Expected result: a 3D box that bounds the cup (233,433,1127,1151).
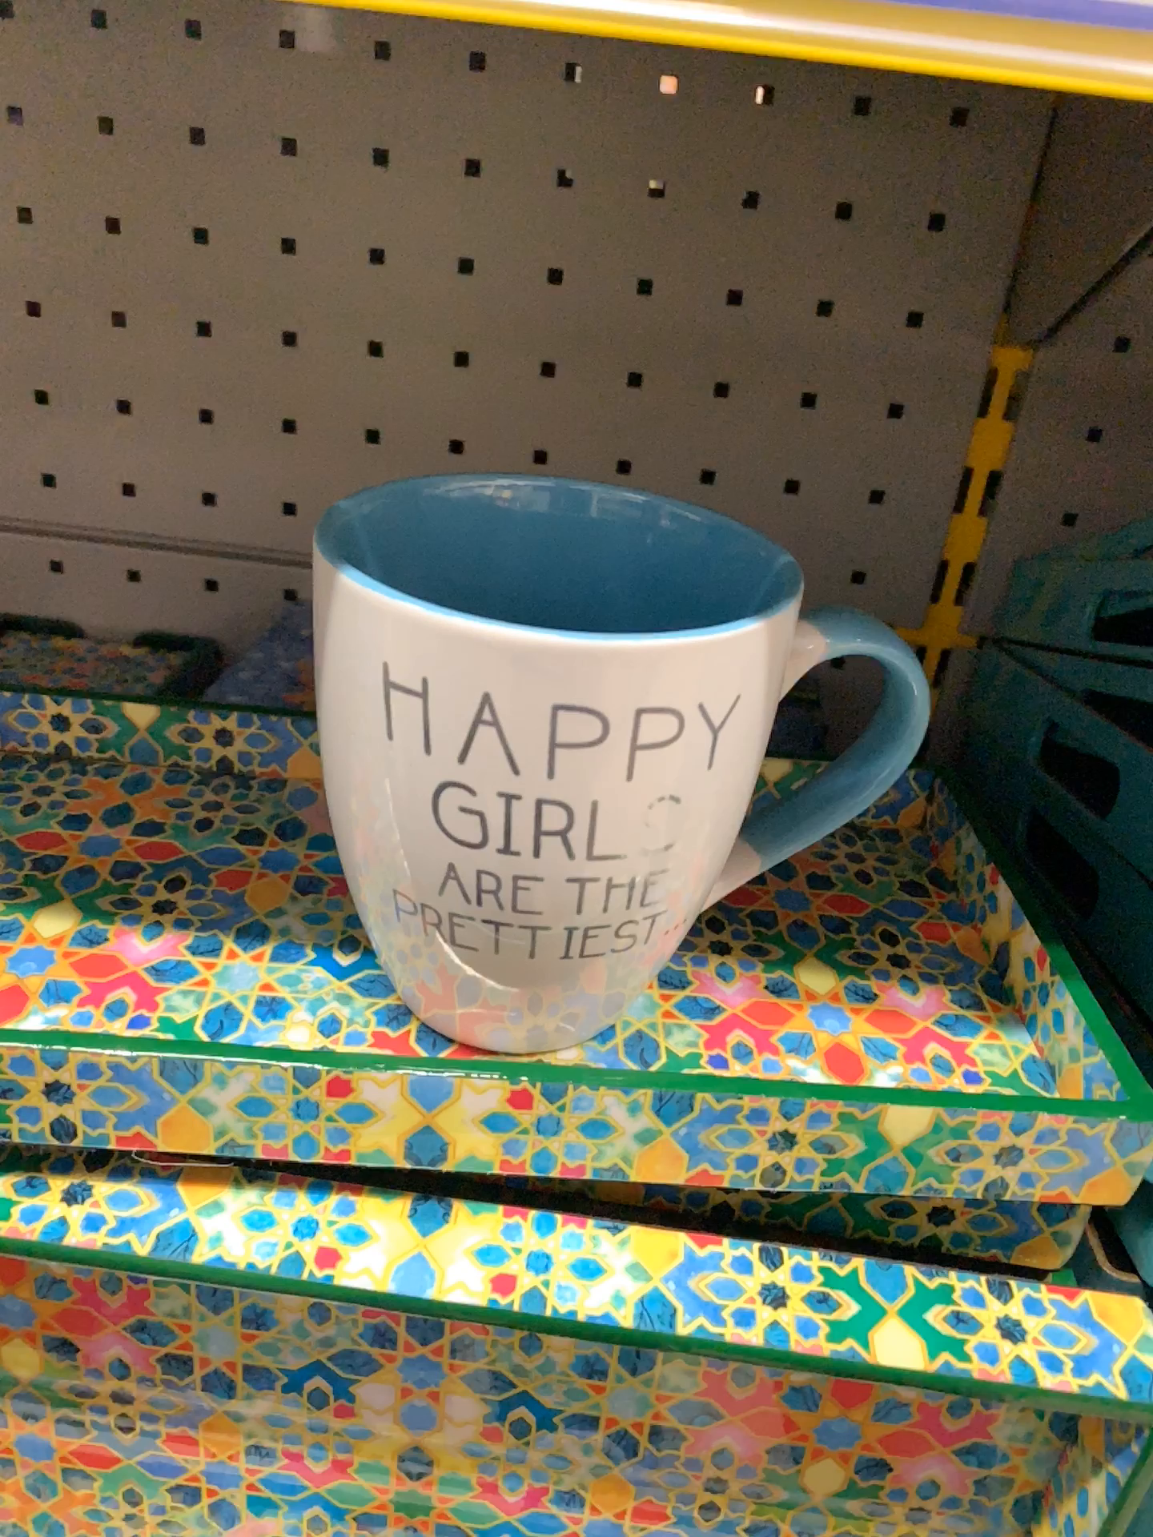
[{"bbox_3d":[0.004,-0.003,0.262,0.150,0.100,0.120,1,28,-16],"label":"cup"}]
